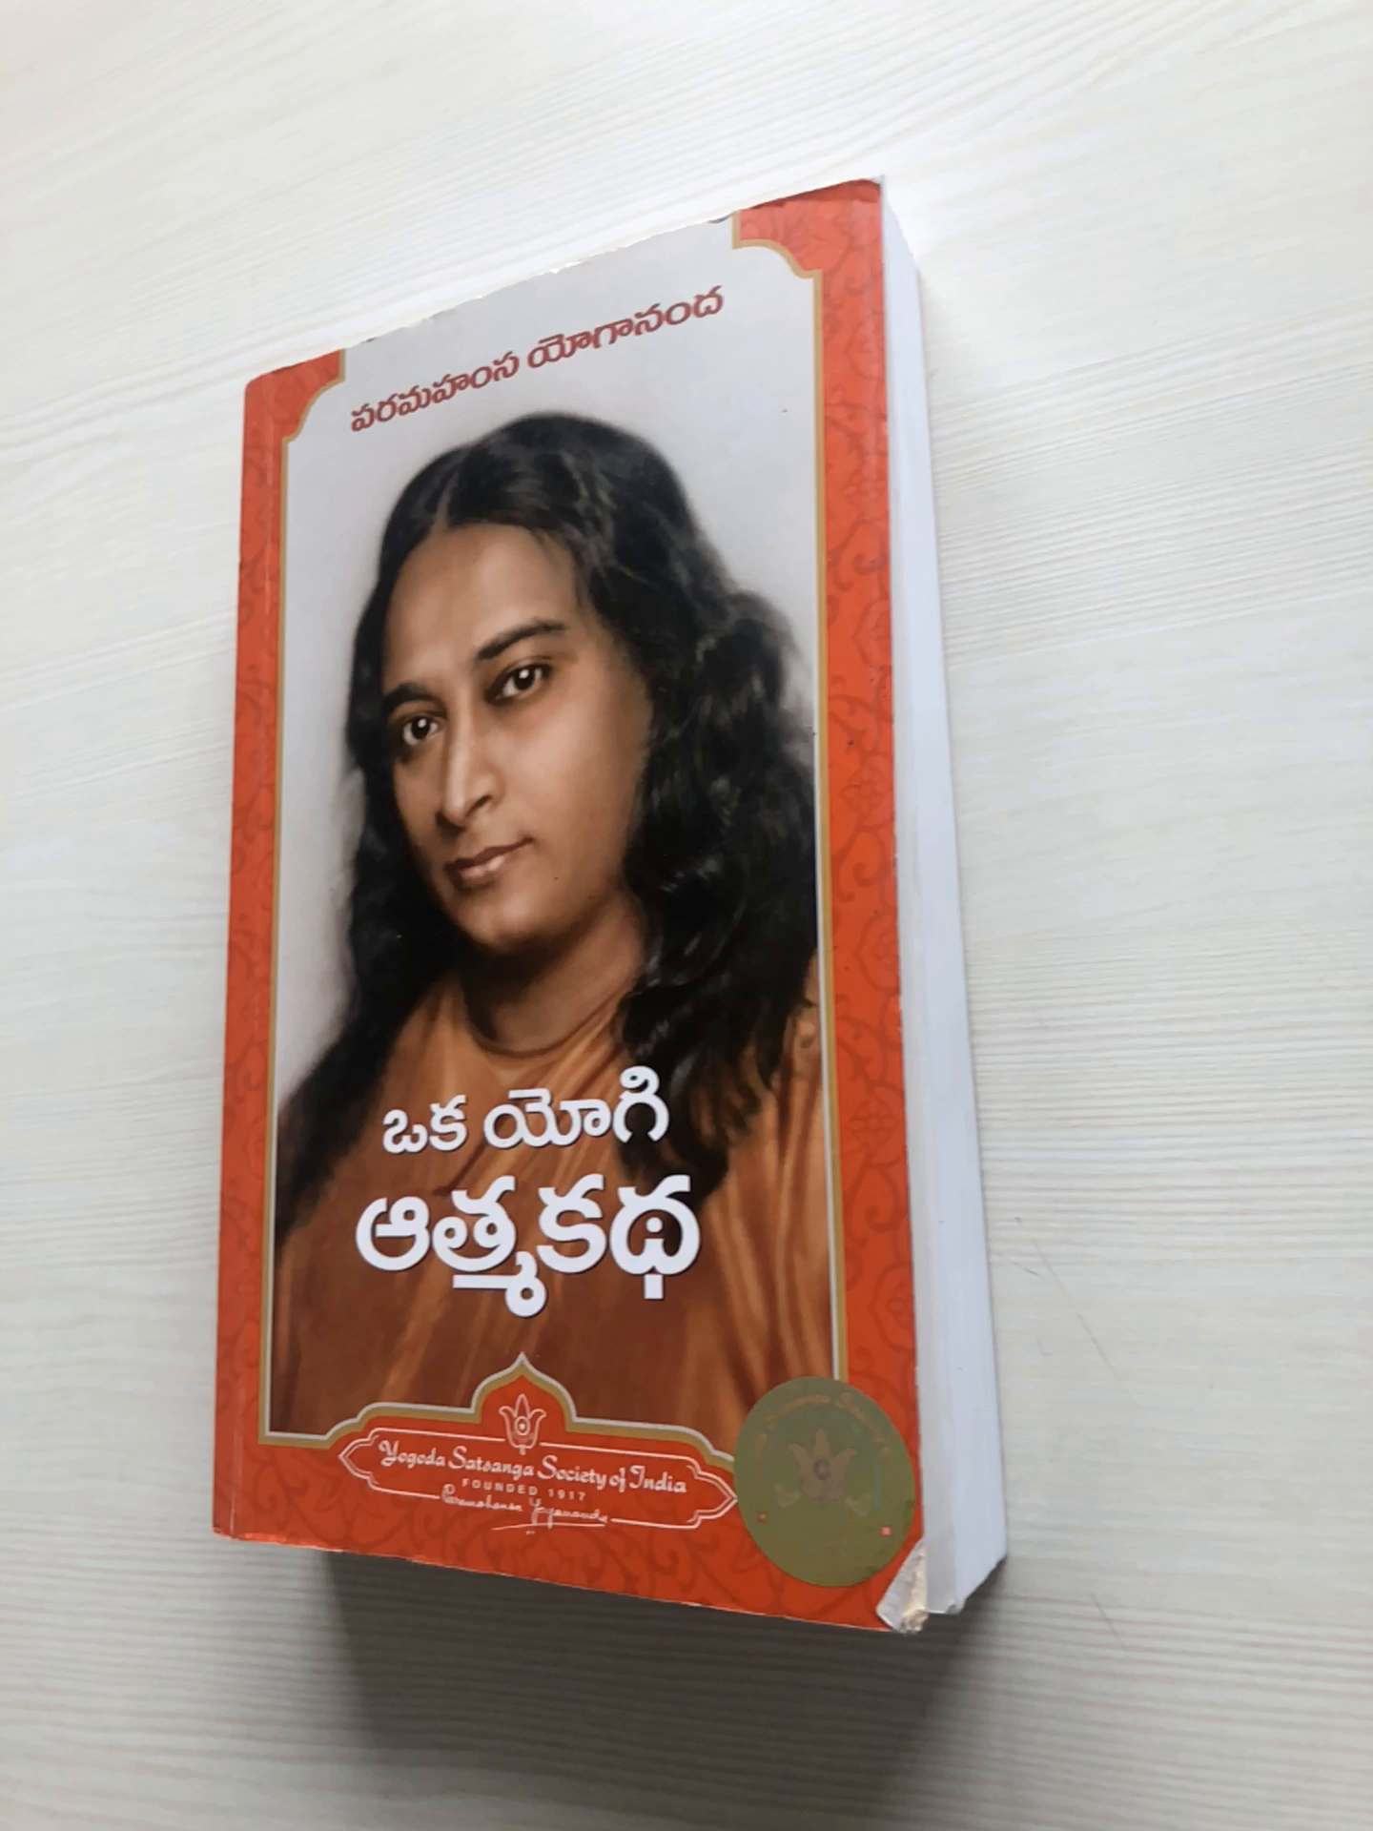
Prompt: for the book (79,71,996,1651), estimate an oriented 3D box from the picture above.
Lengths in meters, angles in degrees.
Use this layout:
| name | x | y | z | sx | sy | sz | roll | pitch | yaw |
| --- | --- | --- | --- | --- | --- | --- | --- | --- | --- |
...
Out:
| name | x | y | z | sx | sy | sz | roll | pitch | yaw |
| --- | --- | --- | --- | --- | --- | --- | --- | --- | --- |
| book | -0.032 | -0.008 | 0.270 | 0.150 | 0.040 | 0.233 | -7 | 77 | 26 |
